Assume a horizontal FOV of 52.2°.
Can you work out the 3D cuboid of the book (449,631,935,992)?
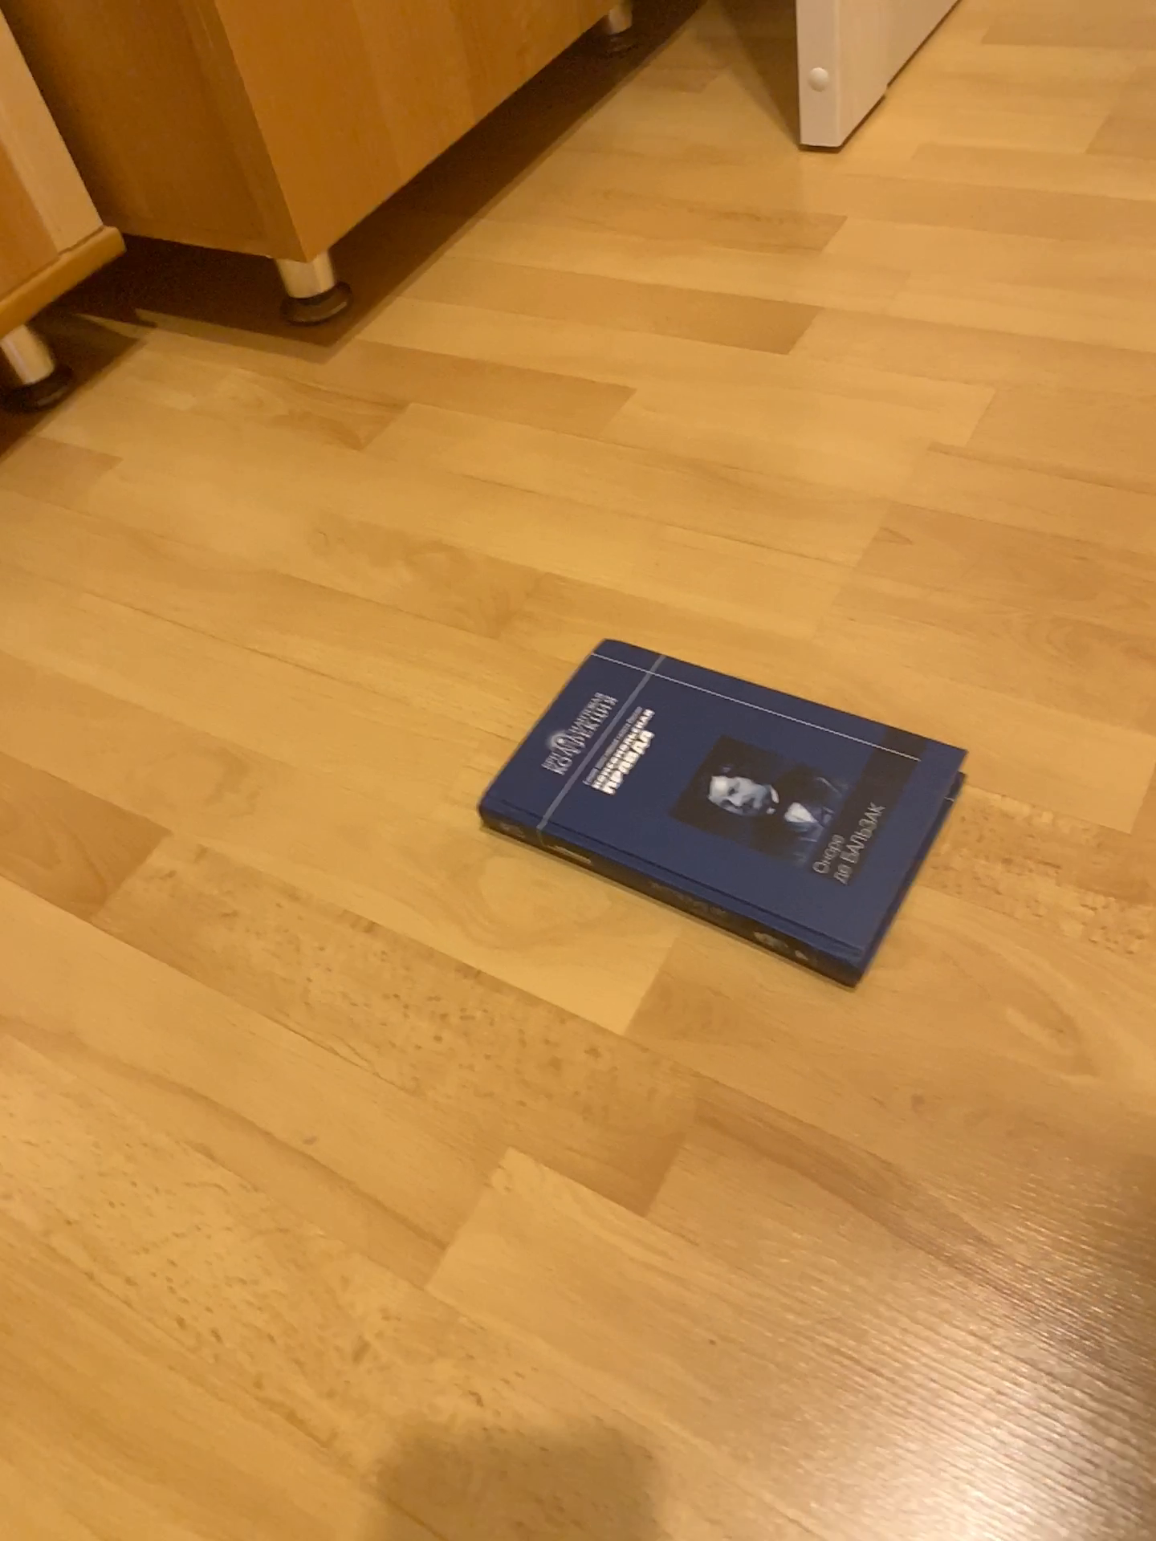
[{"bbox_3d":[0.055,0.011,0.586,0.201,0.030,0.128,21,58,25],"label":"book"}]
